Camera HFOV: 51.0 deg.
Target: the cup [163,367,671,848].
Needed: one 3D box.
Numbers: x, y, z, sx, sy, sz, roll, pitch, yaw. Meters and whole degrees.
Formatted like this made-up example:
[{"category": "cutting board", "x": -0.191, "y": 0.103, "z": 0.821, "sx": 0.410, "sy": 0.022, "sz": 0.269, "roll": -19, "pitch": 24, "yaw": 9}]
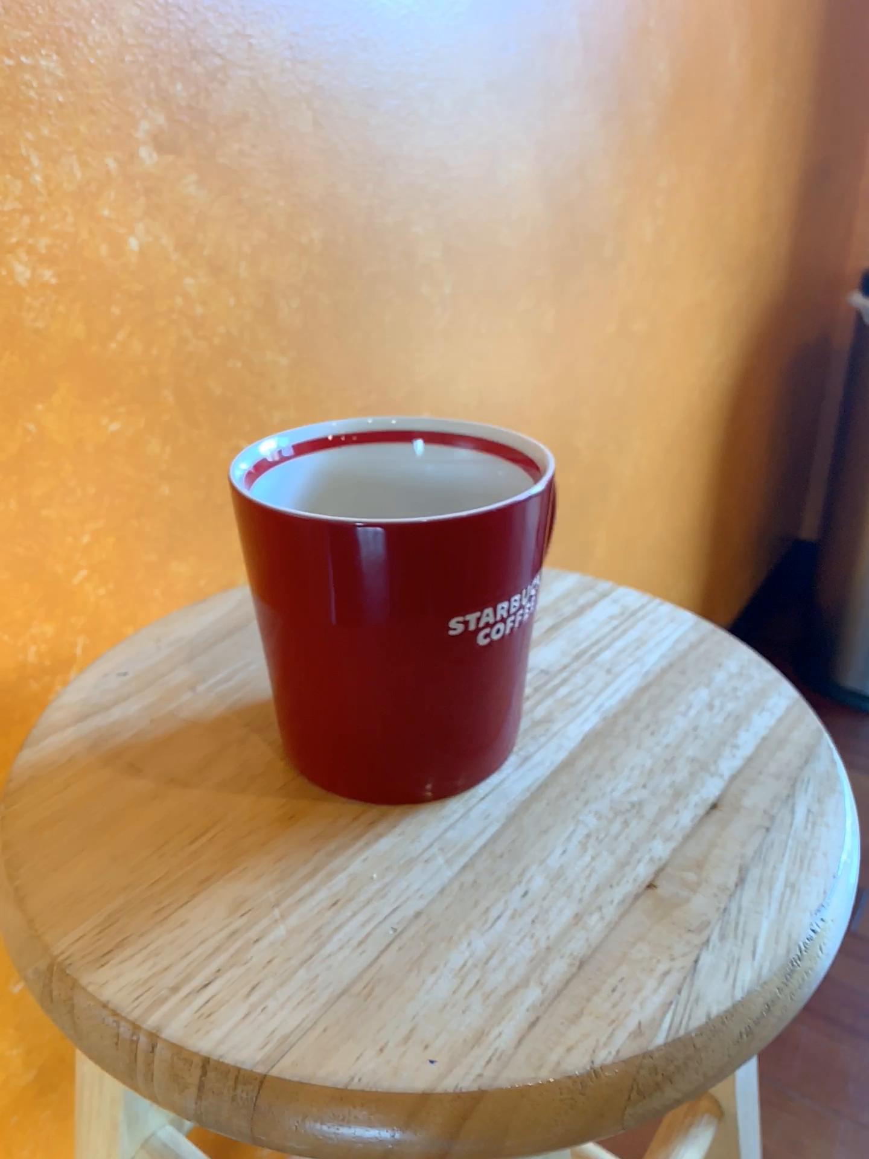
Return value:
[{"category": "cup", "x": 0.001, "y": -0.005, "z": 0.320, "sx": 0.100, "sy": 0.099, "sz": 0.140, "roll": 18, "pitch": 32, "yaw": 34}]
